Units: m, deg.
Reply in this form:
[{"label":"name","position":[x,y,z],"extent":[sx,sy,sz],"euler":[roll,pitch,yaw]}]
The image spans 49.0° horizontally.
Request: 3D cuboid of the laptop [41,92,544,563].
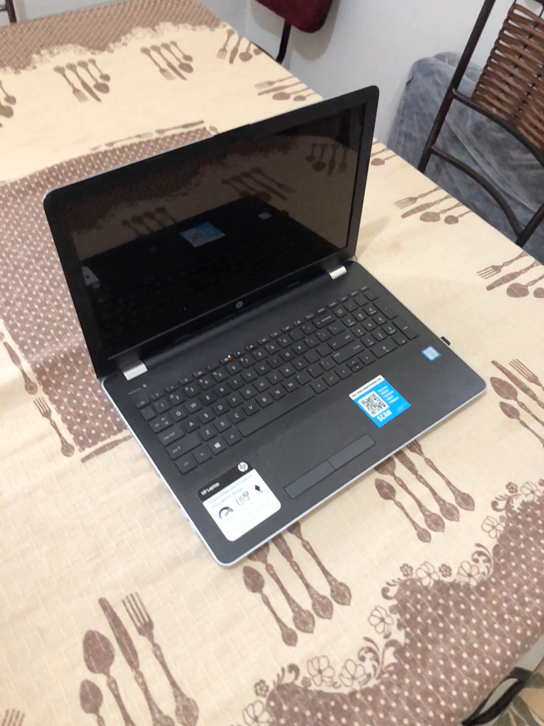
[{"label":"laptop","position":[0.032,-0.052,0.580],"extent":[0.361,0.226,0.268],"euler":[-28,61,-24]}]
